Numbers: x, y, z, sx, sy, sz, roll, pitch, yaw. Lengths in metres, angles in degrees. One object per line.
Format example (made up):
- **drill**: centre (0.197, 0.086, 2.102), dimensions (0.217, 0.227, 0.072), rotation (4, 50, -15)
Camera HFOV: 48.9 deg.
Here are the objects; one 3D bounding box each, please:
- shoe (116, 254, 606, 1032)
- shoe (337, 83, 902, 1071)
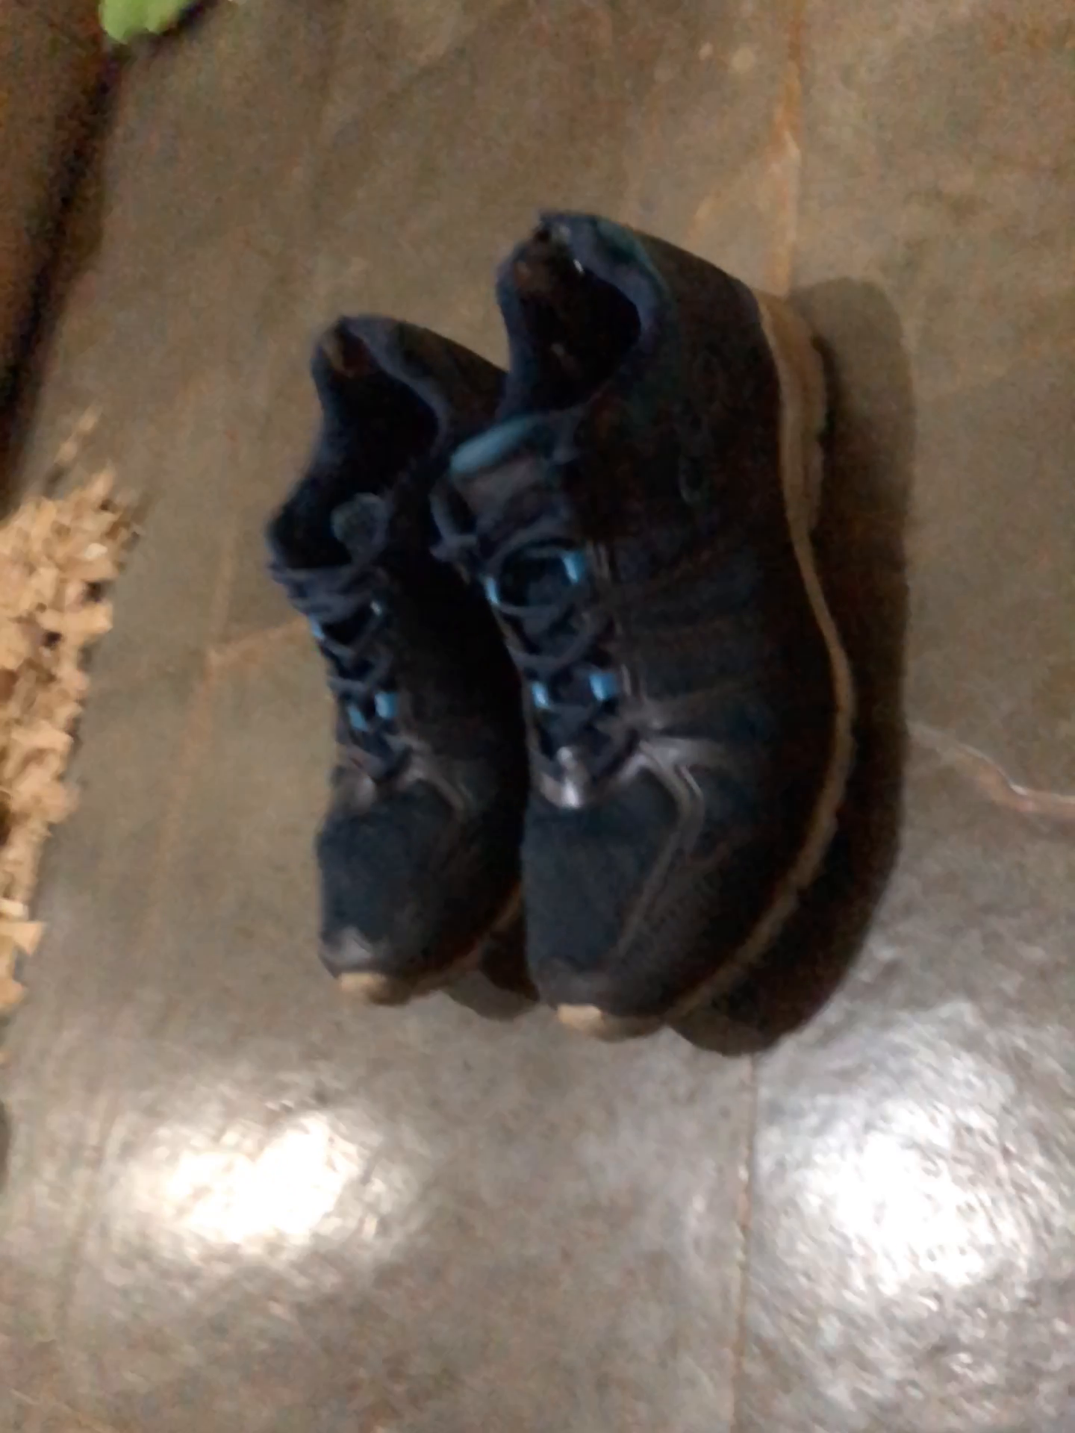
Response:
- **shoe**: centre (-0.063, -0.022, 0.487), dimensions (0.120, 0.109, 0.281), rotation (-14, 62, 41)
- **shoe**: centre (0.038, -0.037, 0.393), dimensions (0.120, 0.109, 0.281), rotation (-12, 63, 42)
